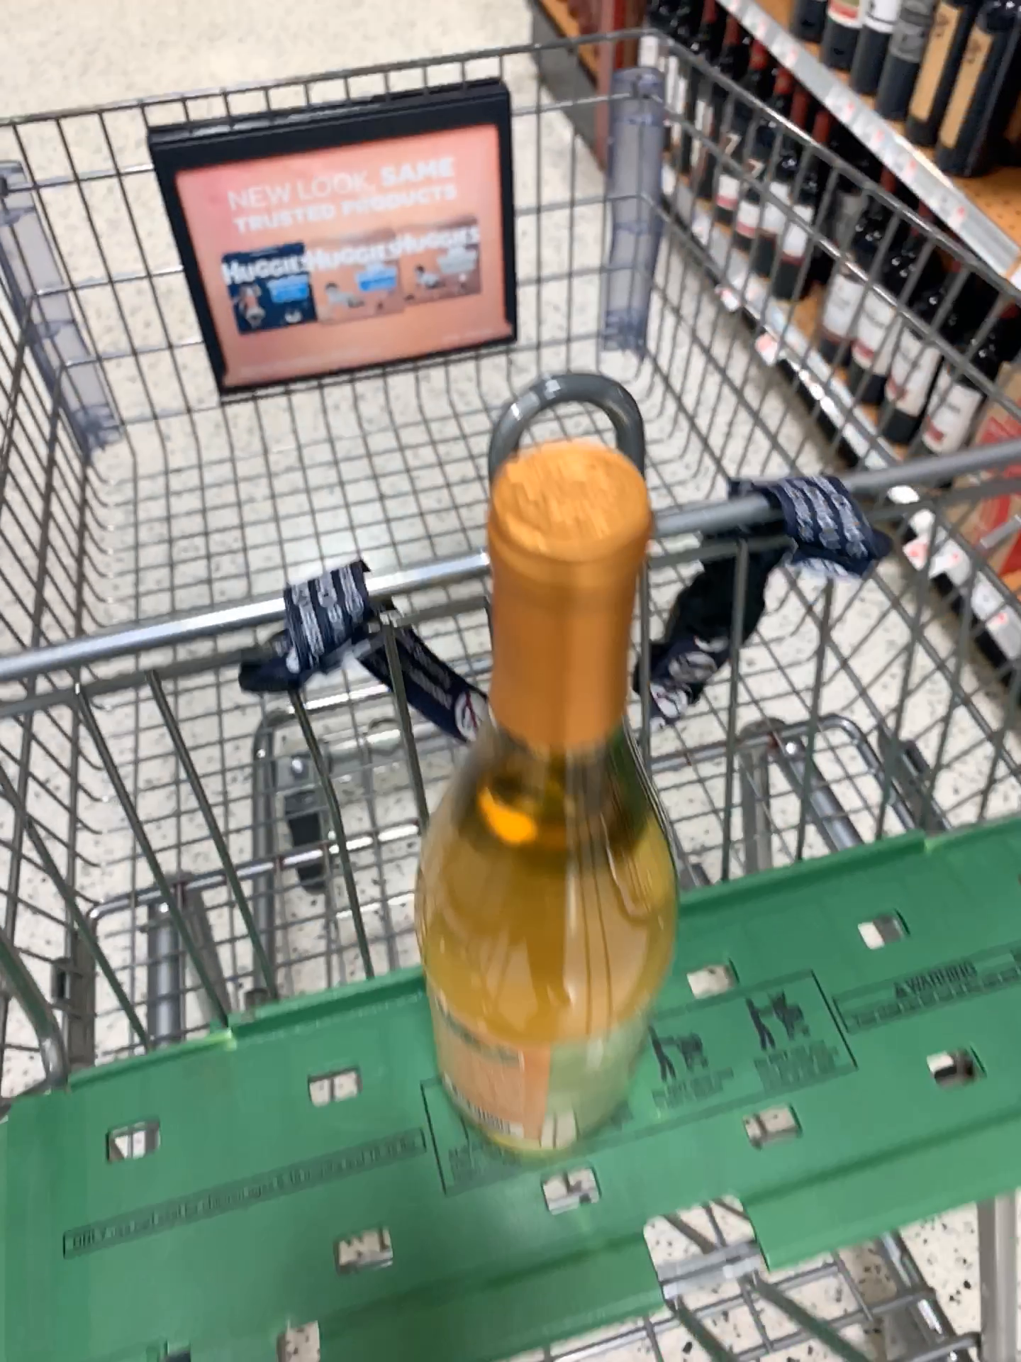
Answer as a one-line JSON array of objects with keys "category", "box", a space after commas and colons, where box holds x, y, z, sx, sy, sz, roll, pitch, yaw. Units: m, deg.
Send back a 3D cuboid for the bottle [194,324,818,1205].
[{"category": "bottle", "box": [0.002, 0.059, 0.311, 0.086, 0.298, 0.084, 0, 52, 0]}]
